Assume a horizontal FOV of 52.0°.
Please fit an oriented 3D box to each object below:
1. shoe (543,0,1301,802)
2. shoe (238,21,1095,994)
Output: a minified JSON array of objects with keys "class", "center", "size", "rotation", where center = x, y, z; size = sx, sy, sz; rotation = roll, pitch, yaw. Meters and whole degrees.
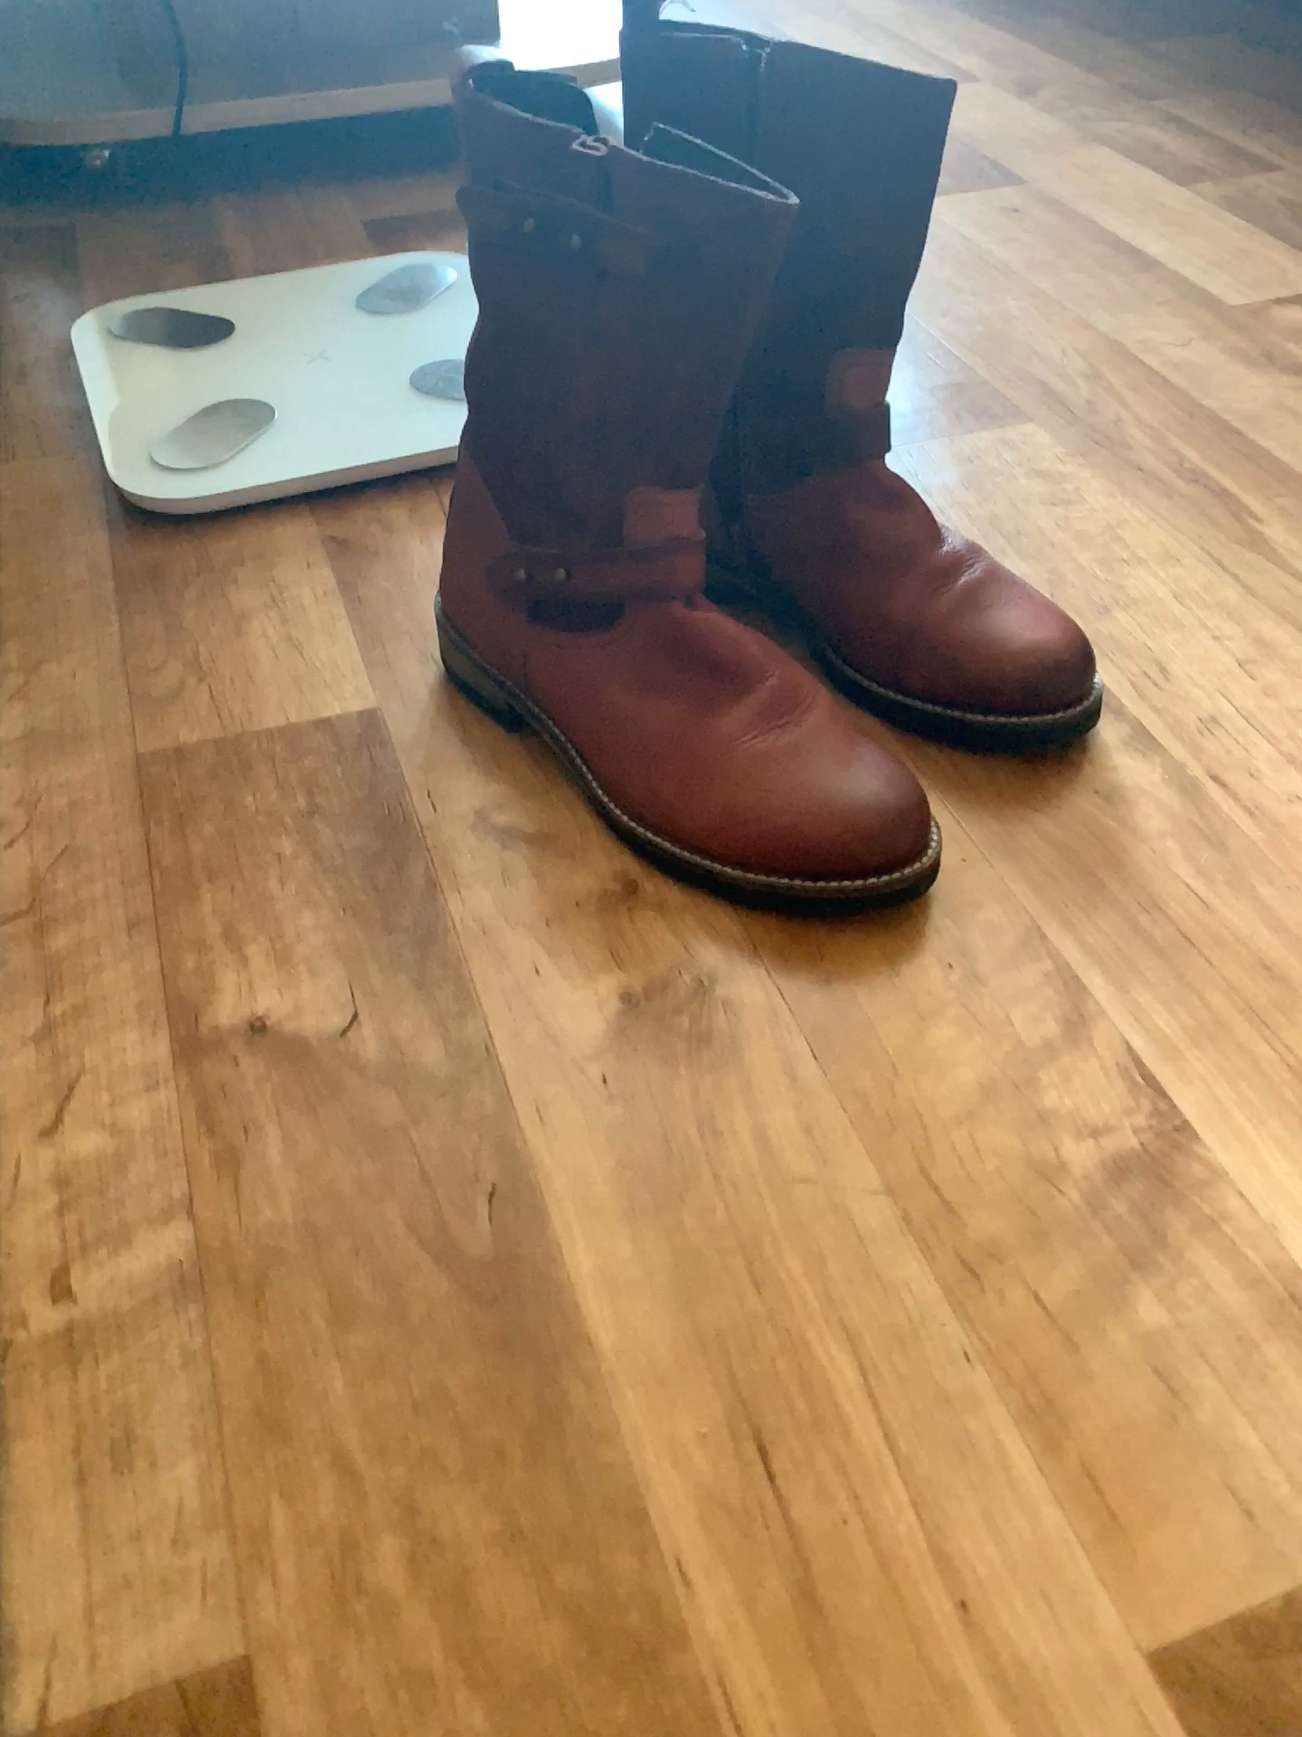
[{"class":"shoe","center":[0.084,-0.194,0.524],"size":[0.251,0.239,0.090],"rotation":[33,54,30]},{"class":"shoe","center":[-0.006,-0.130,0.477],"size":[0.251,0.249,0.100],"rotation":[33,54,30]}]
